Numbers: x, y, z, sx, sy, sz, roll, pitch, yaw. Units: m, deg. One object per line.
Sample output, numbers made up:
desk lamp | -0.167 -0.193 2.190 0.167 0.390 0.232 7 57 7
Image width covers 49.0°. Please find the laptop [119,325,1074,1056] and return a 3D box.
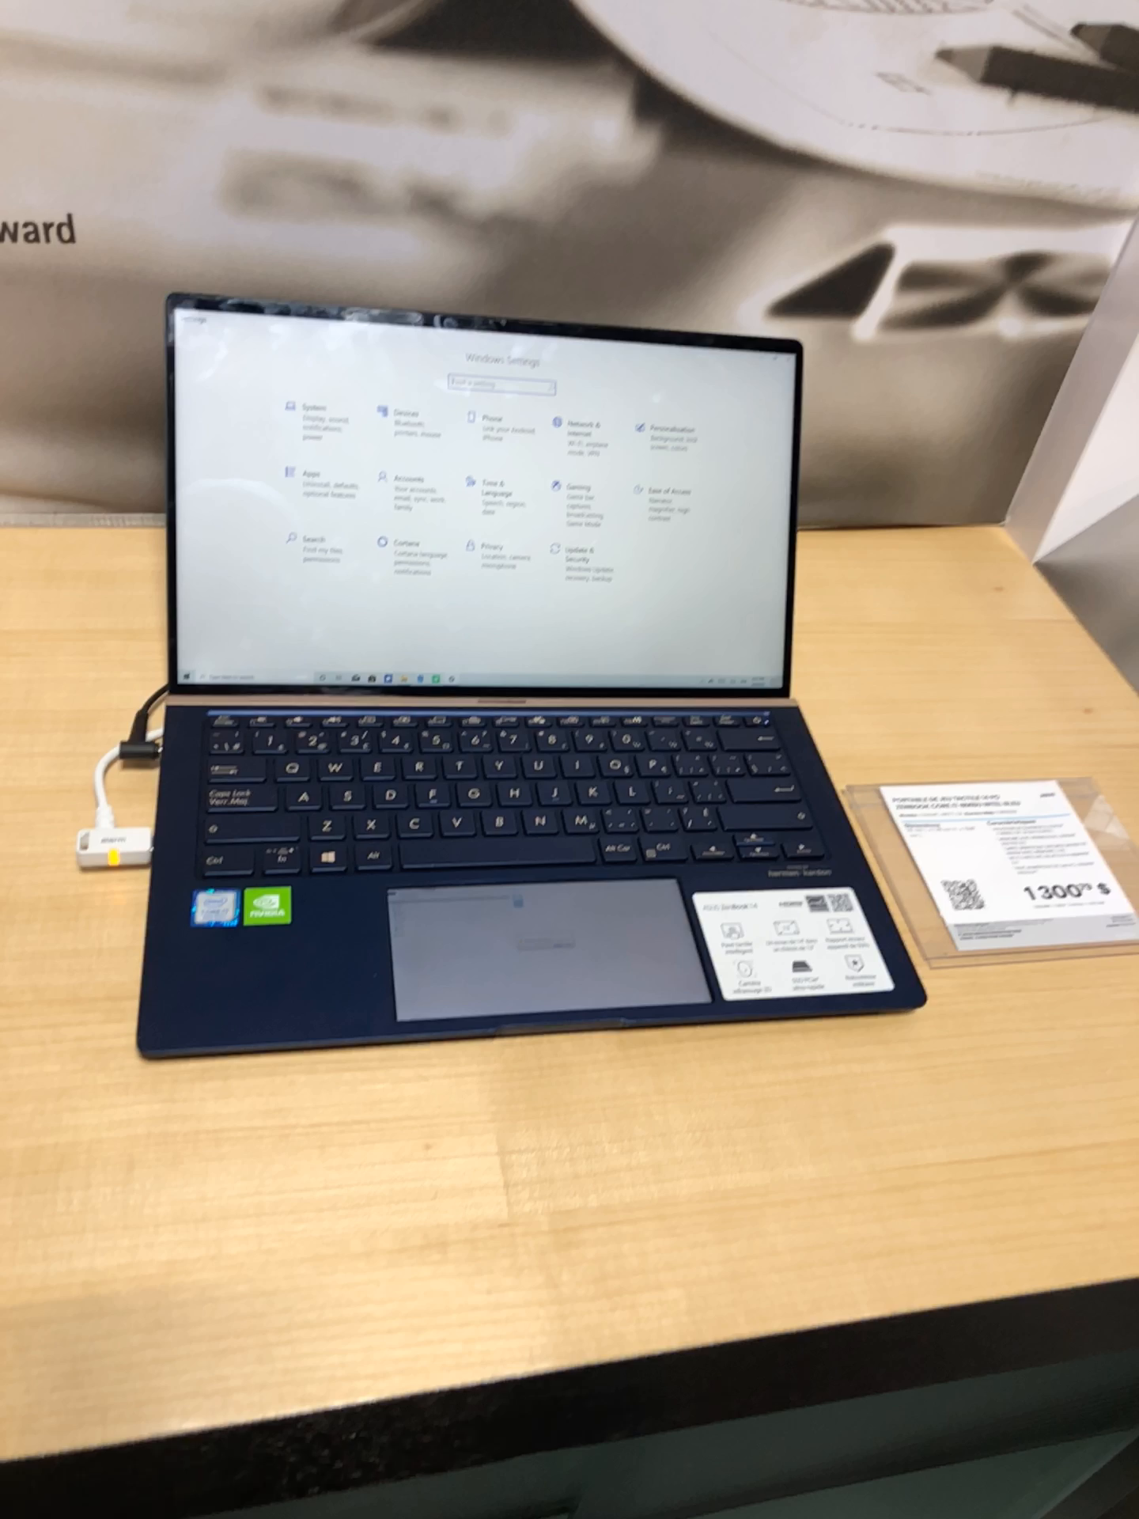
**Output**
laptop | -0.012 -0.055 0.591 0.332 0.159 0.322 -1 42 -13
